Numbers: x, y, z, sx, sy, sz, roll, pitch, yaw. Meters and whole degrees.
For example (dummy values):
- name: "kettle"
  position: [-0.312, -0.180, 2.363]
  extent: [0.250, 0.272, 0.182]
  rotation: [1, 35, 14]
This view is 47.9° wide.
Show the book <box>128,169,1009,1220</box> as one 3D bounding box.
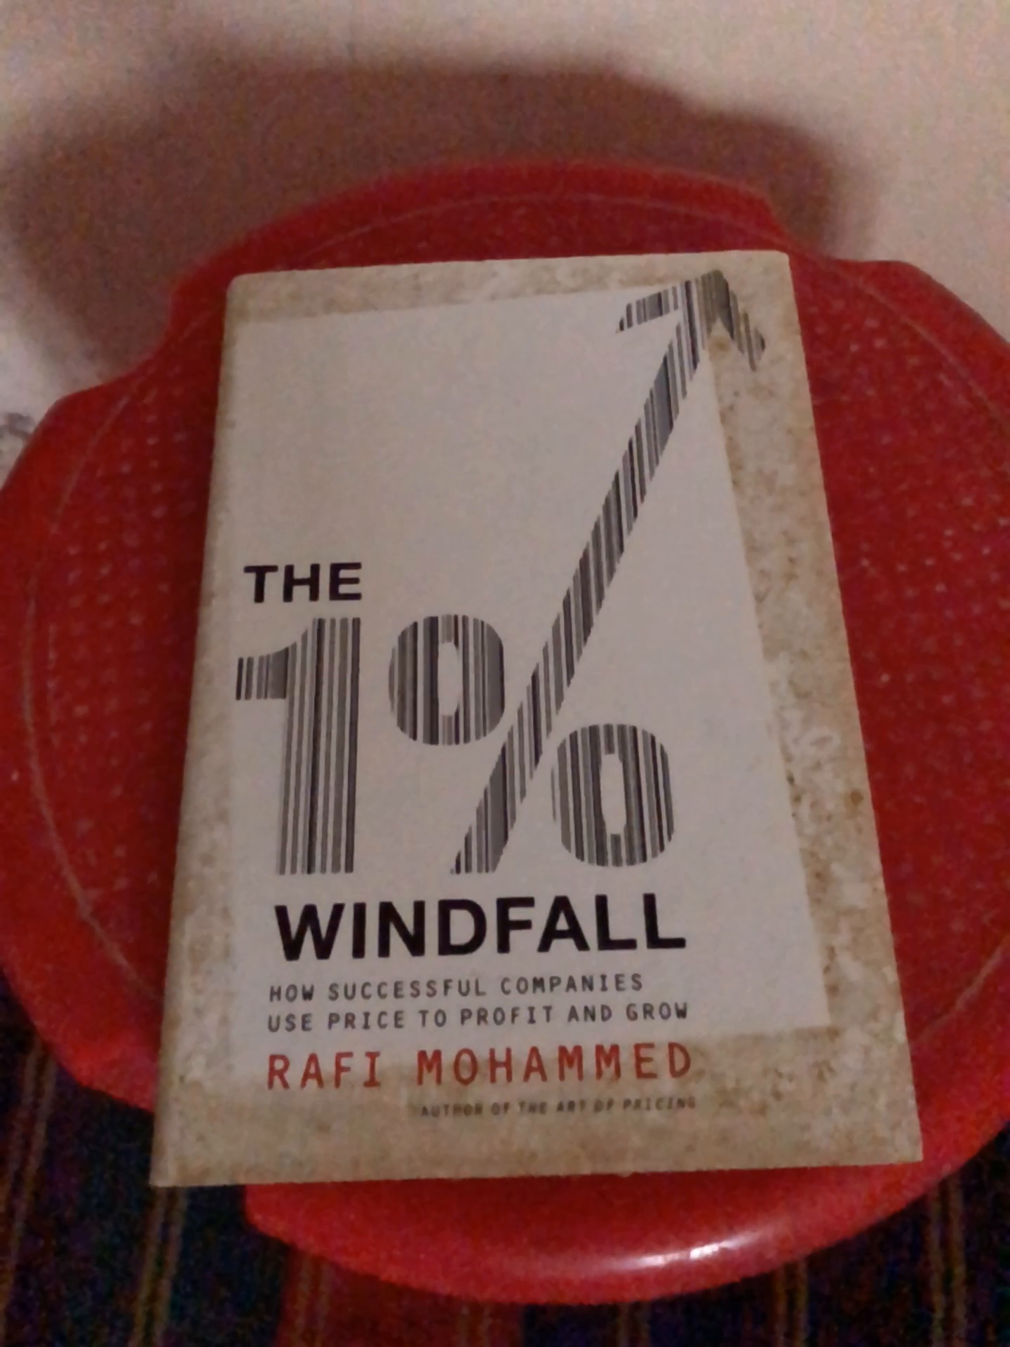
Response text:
- name: "book"
  position: [0.013, -0.010, 0.288]
  extent: [0.180, 0.040, 0.260]
  rotation: [-2, 68, 1]
